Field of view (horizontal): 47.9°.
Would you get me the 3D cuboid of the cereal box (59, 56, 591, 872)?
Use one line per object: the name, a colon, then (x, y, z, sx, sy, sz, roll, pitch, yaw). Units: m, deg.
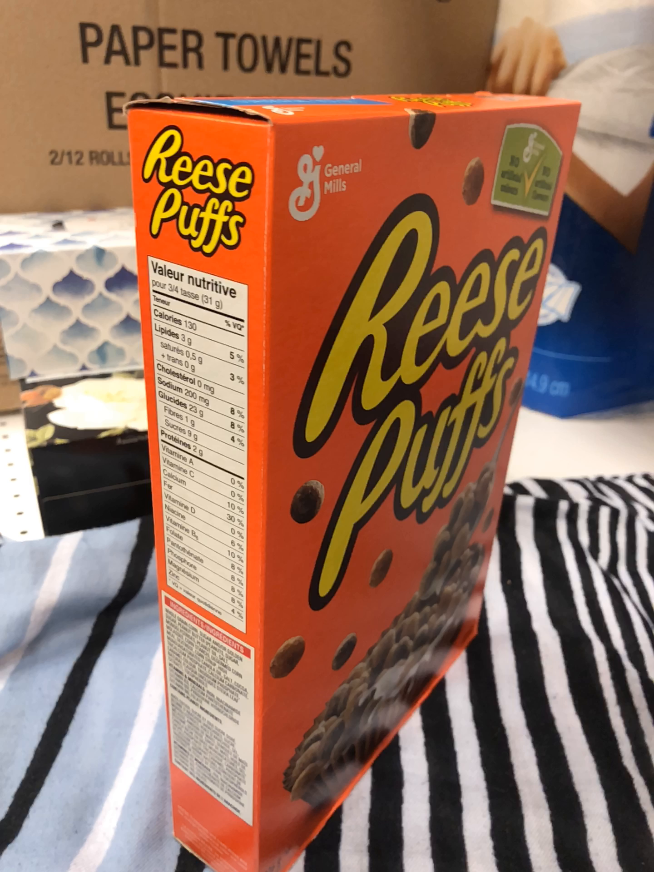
cereal box: (0.018, 0.012, 0.276, 0.040, 0.269, 0.211, 20, 32, 30)
